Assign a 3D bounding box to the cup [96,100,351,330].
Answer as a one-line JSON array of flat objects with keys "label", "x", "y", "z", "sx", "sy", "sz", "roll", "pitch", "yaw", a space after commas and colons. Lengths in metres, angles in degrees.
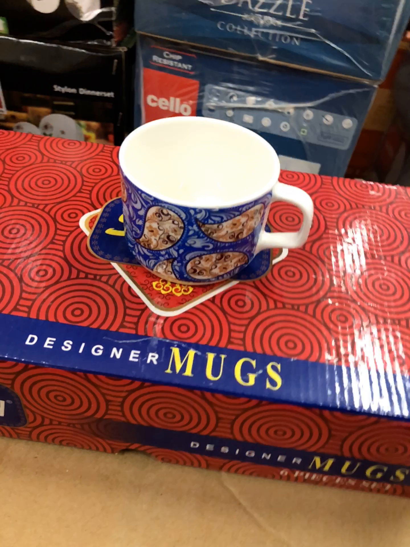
[{"label": "cup", "x": 0.010, "y": -0.031, "z": 0.222, "sx": 0.100, "sy": 0.060, "sz": 0.071, "roll": 15, "pitch": 44, "yaw": 6}]
